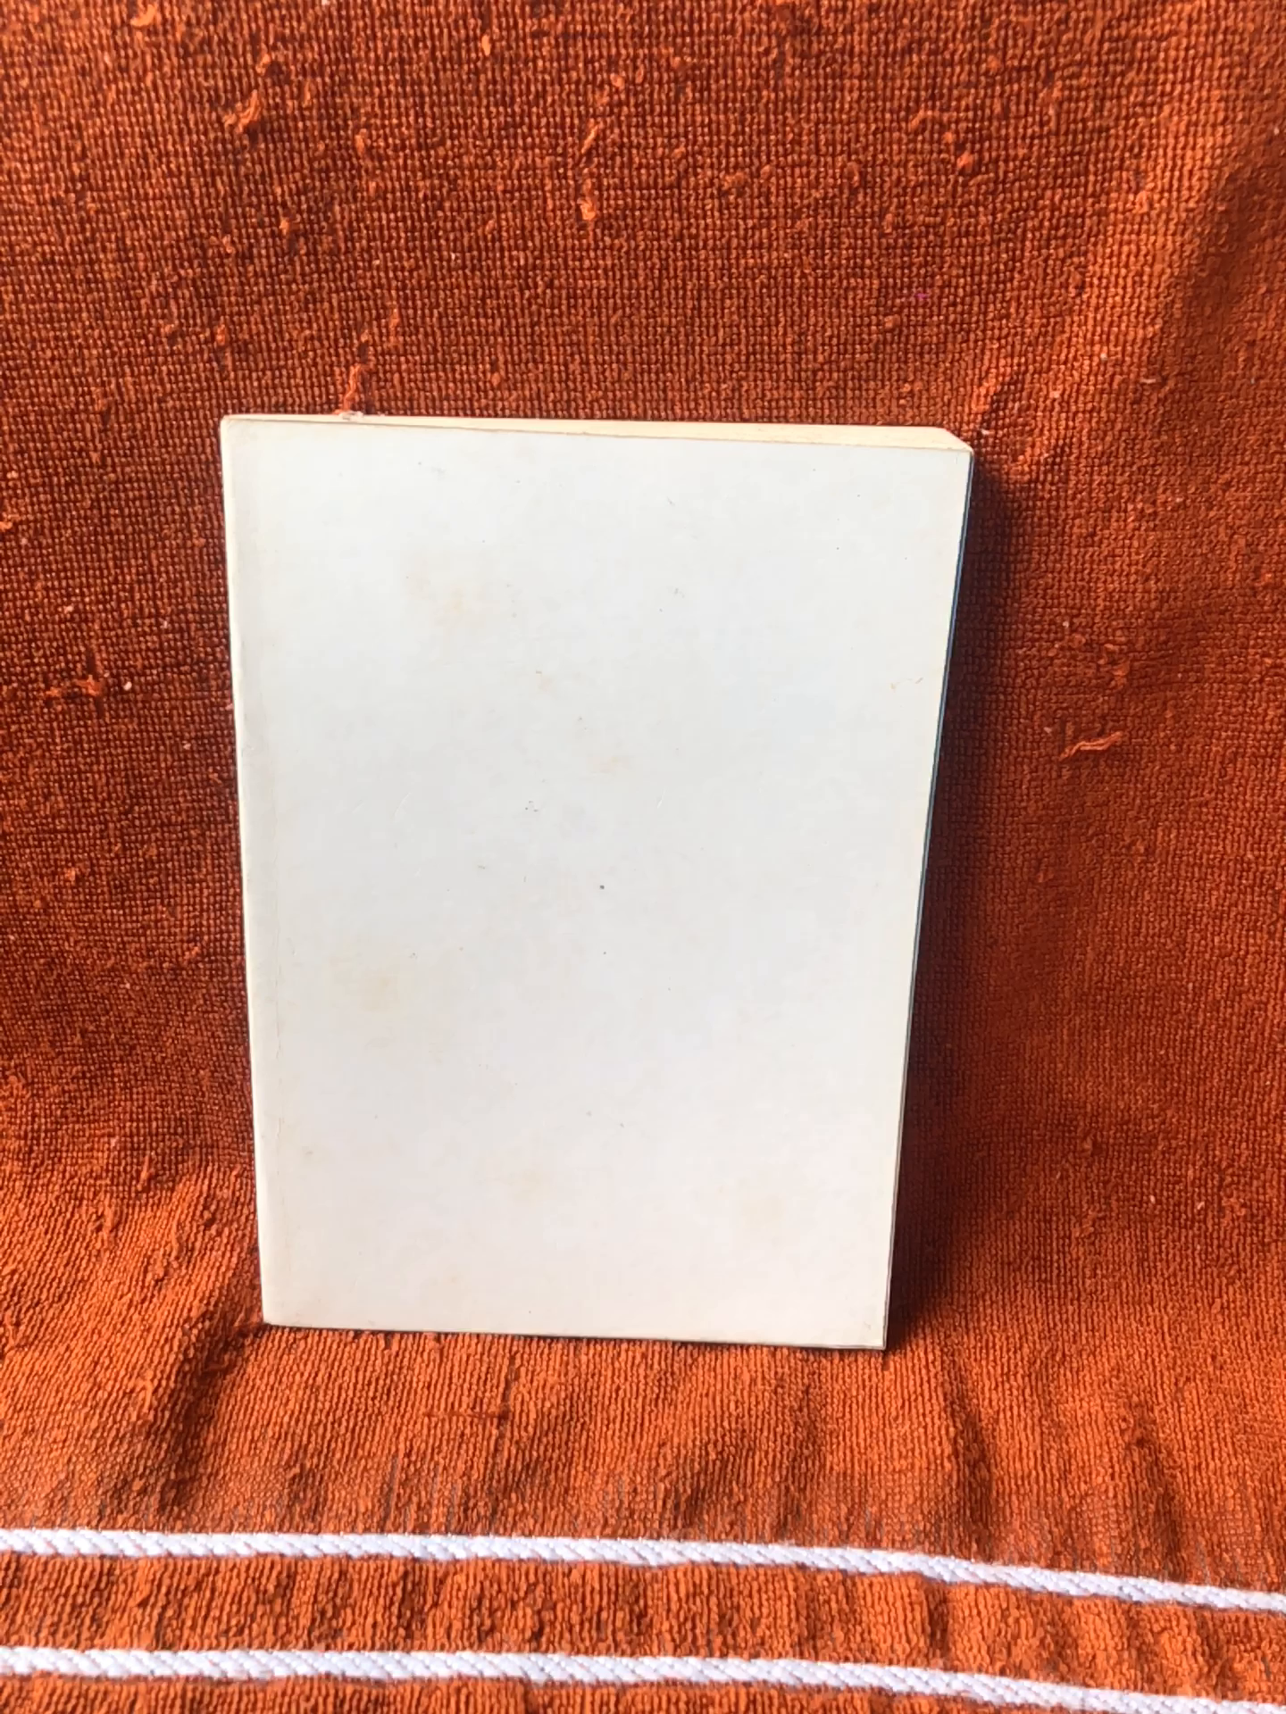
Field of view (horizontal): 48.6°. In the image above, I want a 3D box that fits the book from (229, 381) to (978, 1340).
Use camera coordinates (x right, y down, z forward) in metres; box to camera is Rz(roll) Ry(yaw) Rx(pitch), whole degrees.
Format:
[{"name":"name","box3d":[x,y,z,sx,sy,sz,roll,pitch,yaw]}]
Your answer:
[{"name":"book","box3d":[-0.012,0.004,0.319,0.150,0.200,0.030,3,9,-1]}]
